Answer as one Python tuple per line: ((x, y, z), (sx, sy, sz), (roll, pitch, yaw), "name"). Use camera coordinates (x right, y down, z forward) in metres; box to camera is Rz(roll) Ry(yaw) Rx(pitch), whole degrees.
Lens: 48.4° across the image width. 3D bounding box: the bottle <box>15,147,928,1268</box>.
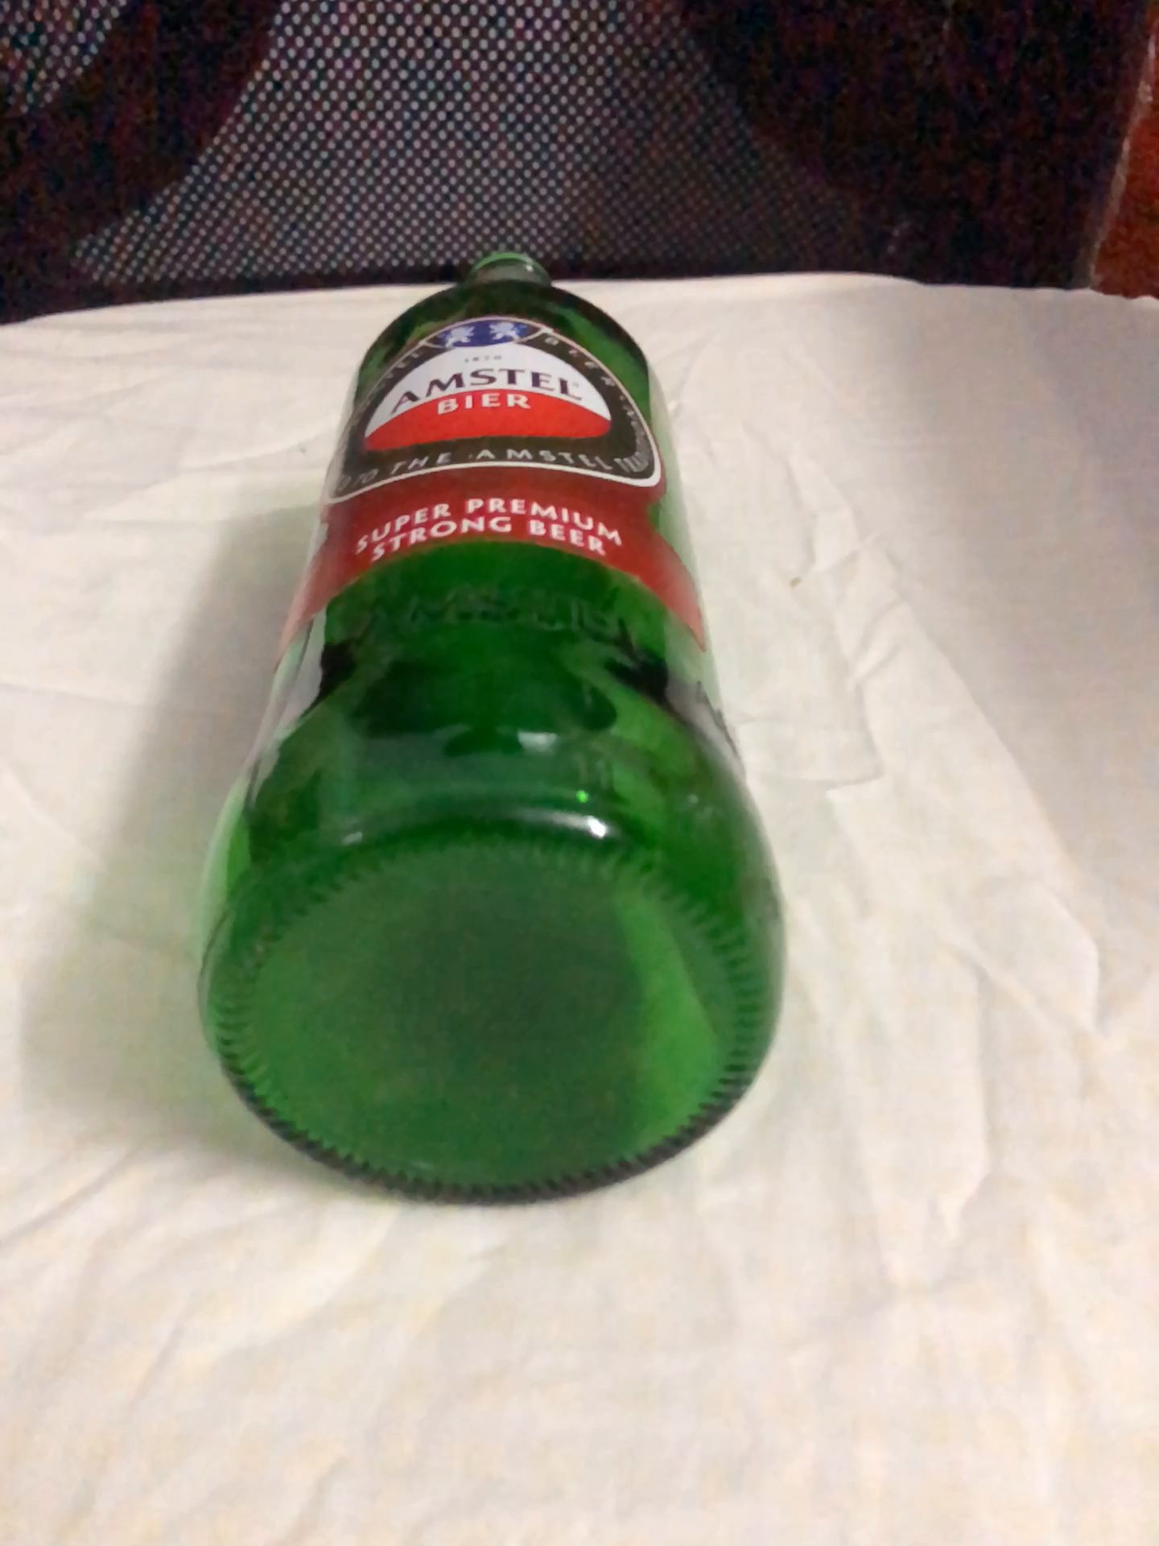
((-0.015, -0.071, 0.299), (0.090, 0.080, 0.362), (-1, 35, -1), "bottle")
